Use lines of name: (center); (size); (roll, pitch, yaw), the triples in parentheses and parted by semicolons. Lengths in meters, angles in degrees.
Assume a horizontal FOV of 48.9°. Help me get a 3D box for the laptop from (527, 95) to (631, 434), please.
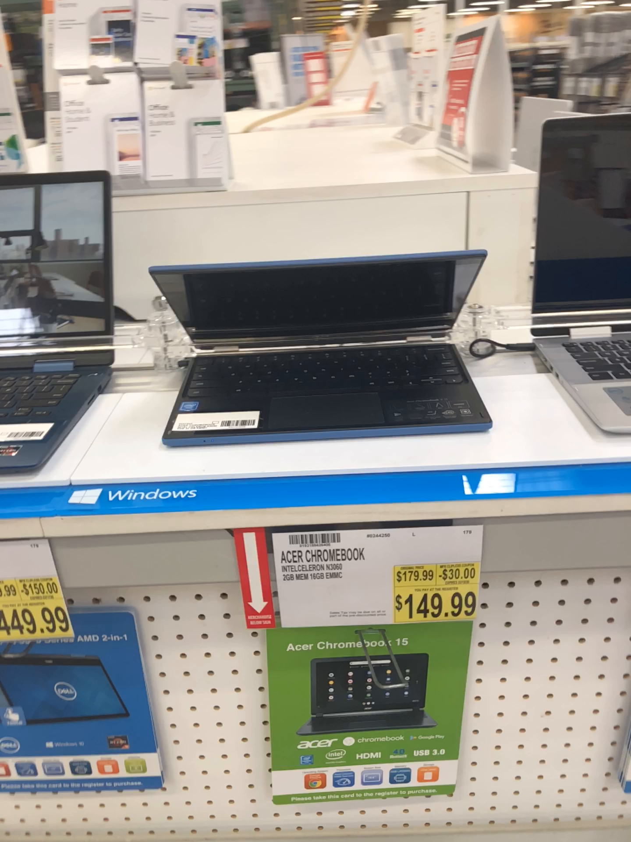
laptop: (0.410, -0.152, 0.619); (0.354, 0.216, 0.247); (-3, 27, 2)

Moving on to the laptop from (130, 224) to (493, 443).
laptop: (-0.001, -0.090, 0.642); (0.279, 0.128, 0.185); (-3, 27, 0)
